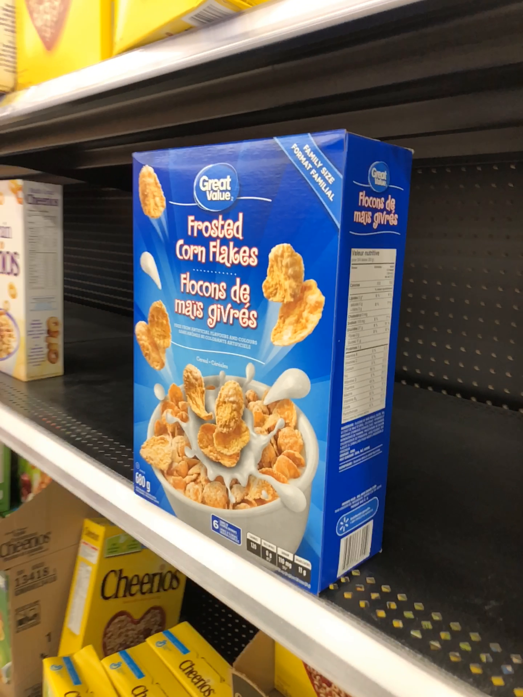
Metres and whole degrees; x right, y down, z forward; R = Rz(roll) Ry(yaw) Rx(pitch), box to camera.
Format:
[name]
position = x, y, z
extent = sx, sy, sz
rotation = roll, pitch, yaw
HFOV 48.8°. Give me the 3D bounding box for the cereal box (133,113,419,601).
[cereal box]
position = -0.005, -0.005, 0.456
extent = 0.210, 0.309, 0.080
rotation = 12, 14, 41
